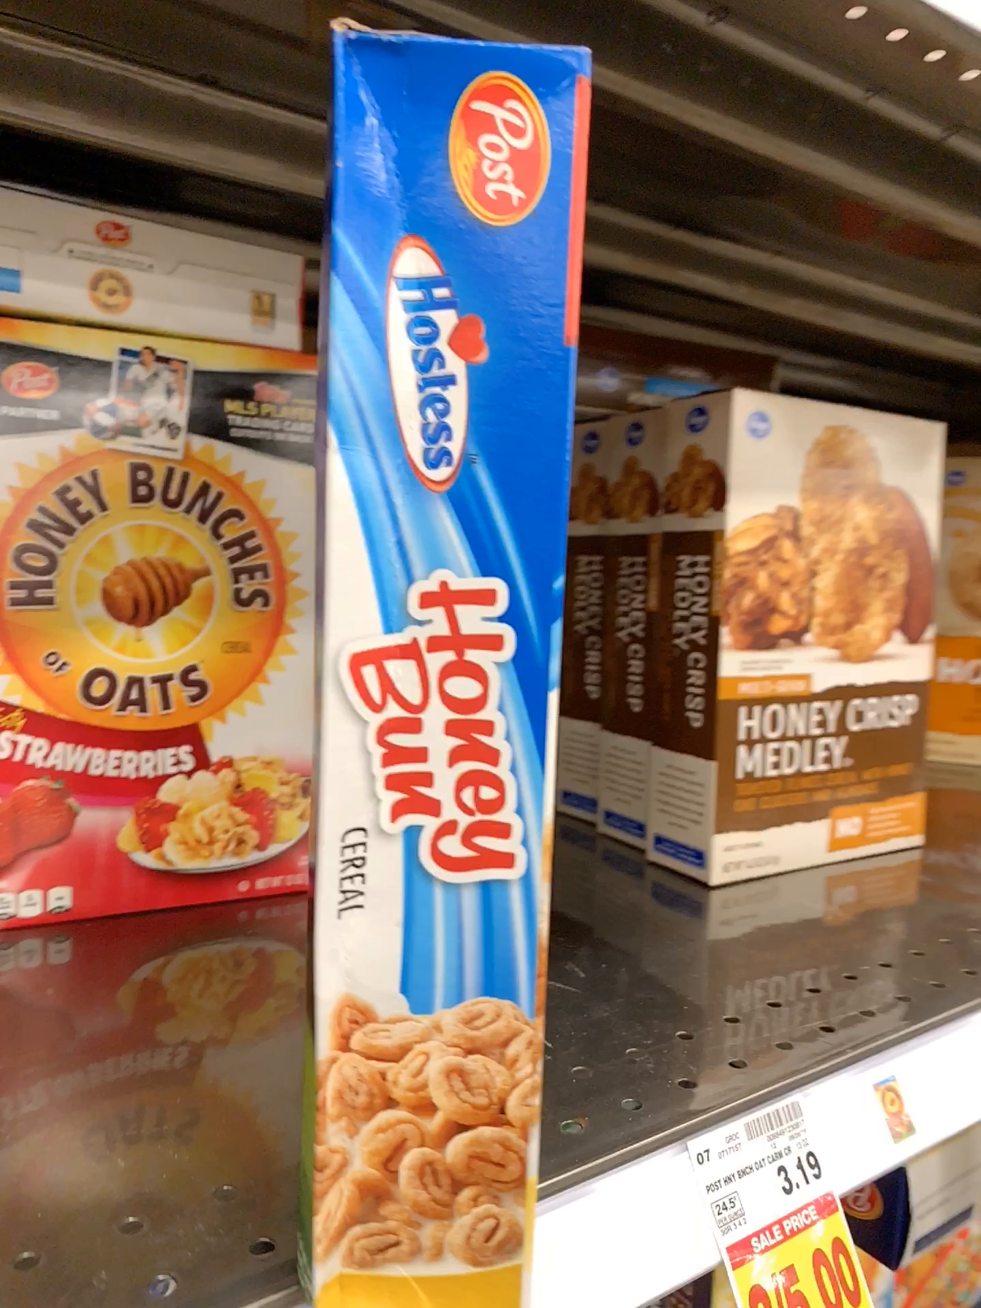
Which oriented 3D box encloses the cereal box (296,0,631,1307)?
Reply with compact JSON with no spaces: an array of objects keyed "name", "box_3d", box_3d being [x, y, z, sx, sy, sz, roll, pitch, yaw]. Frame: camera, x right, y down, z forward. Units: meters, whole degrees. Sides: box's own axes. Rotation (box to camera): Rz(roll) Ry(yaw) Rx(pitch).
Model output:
[{"name":"cereal box","box_3d":[-0.013,-0.001,0.307,0.060,0.280,0.200,2,5,-3]}]
